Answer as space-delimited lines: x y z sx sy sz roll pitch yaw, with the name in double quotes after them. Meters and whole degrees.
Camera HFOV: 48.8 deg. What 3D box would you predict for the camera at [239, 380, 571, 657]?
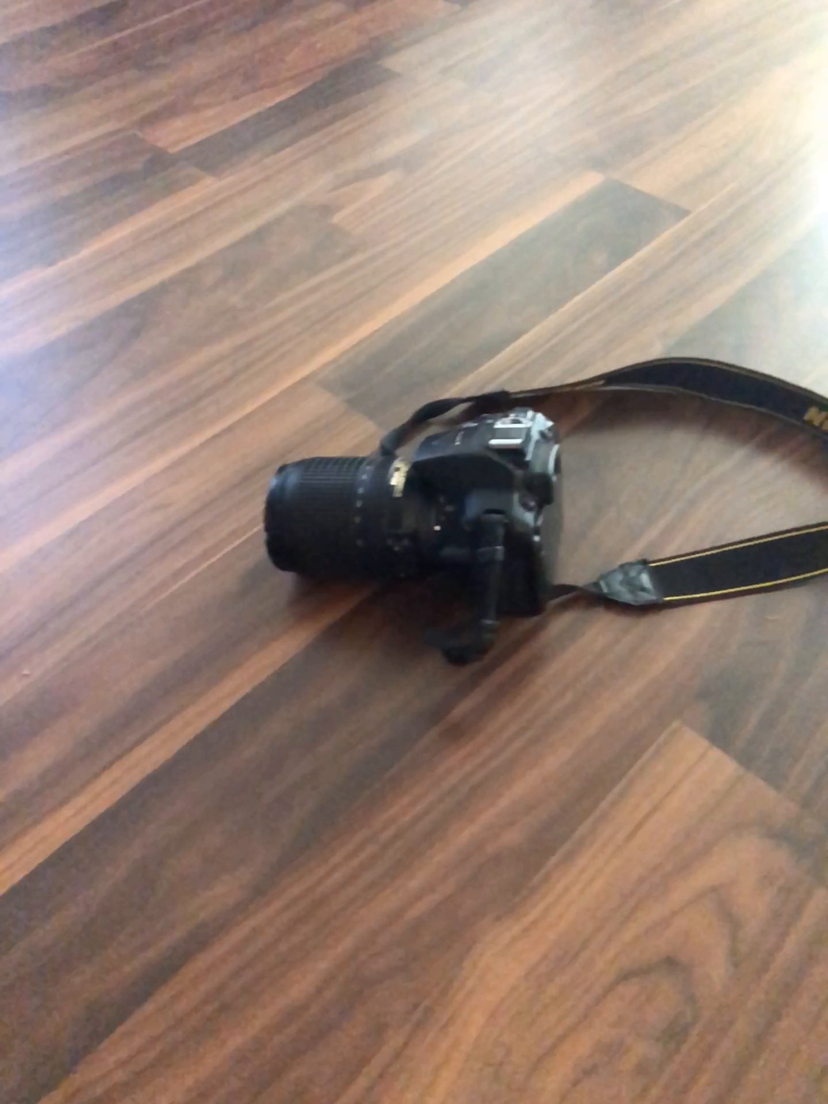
0.005 -0.022 0.588 0.180 0.130 0.110 4 50 12 "camera"
